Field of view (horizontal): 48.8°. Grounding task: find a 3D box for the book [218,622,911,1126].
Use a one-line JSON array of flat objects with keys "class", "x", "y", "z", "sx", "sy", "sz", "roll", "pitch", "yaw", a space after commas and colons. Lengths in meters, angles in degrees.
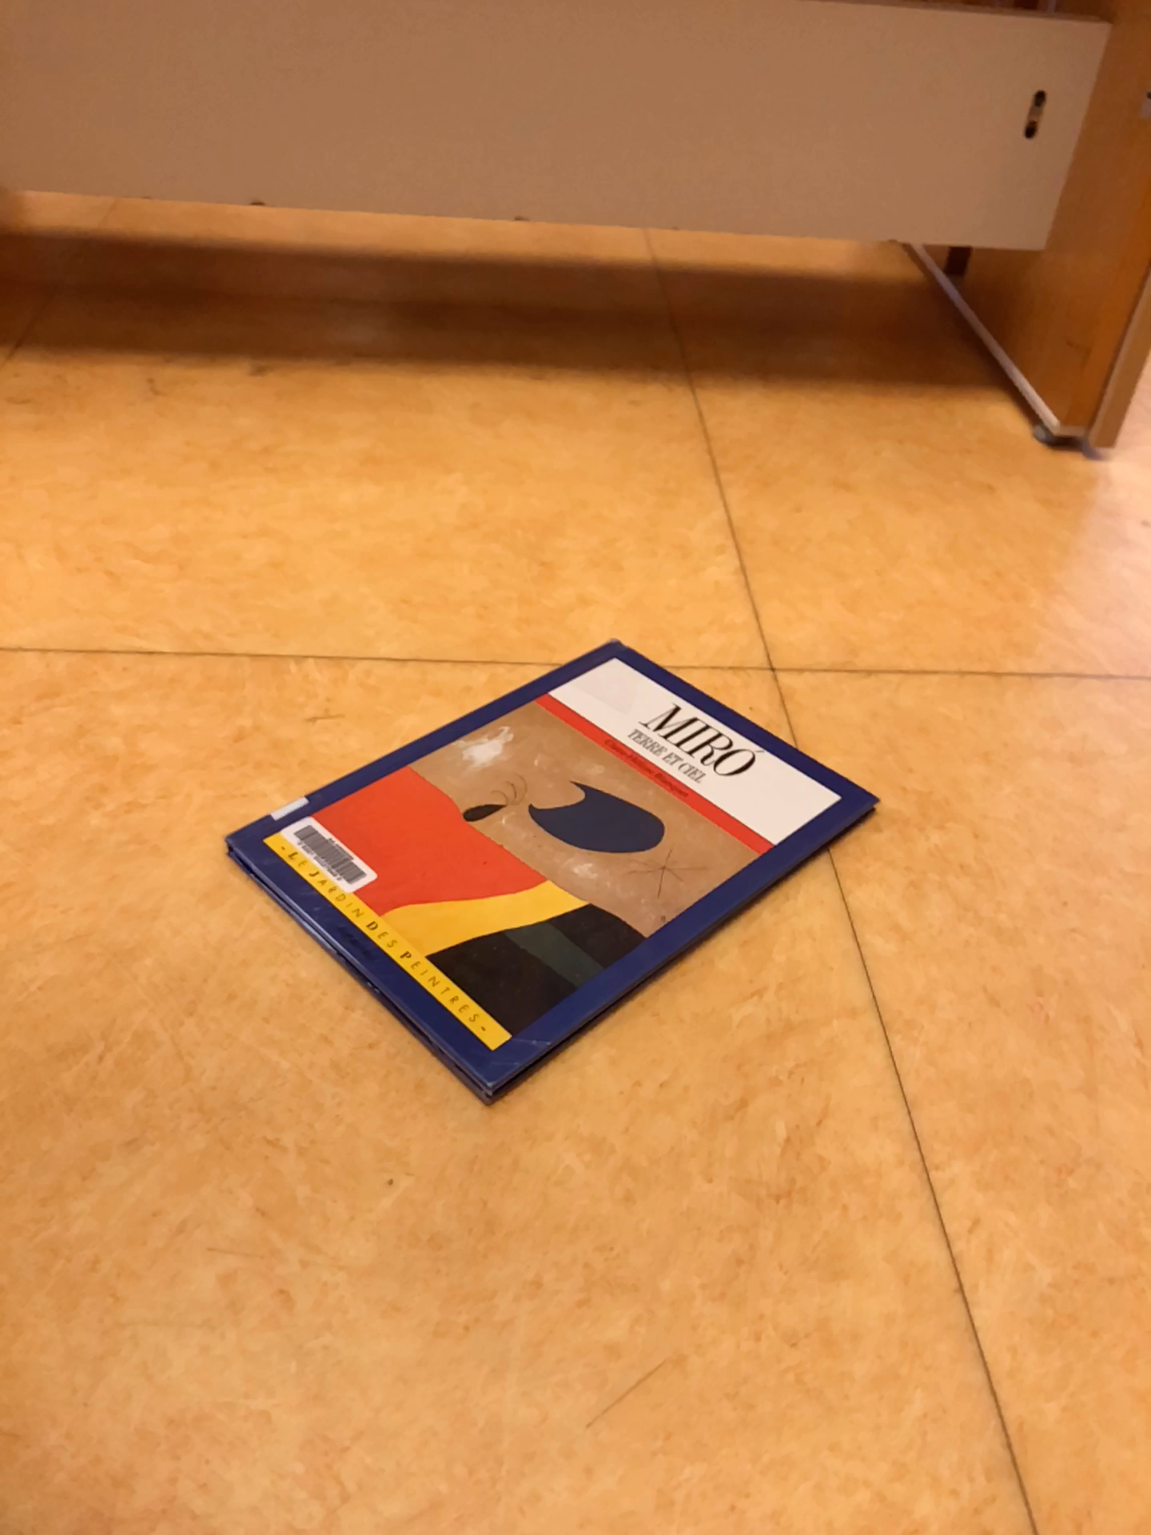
[{"class": "book", "x": 0.002, "y": 0.024, "z": 0.552, "sx": 0.246, "sy": 0.020, "sz": 0.177, "roll": -29, "pitch": 51, "yaw": -36}]
